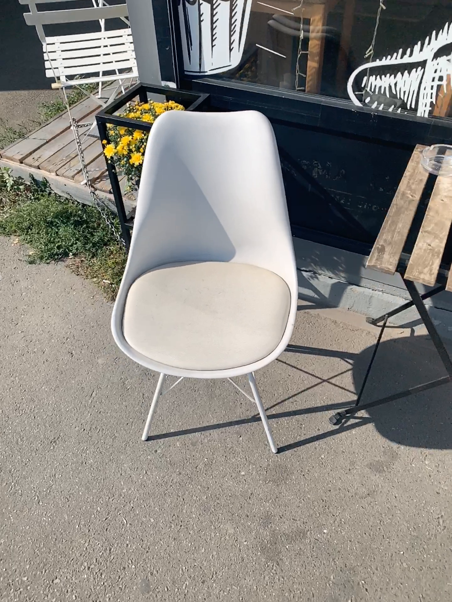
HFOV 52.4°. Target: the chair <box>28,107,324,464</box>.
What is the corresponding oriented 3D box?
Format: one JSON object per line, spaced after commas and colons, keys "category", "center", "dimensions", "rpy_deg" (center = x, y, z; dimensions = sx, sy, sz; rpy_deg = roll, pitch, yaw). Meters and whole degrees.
{"category": "chair", "center": [-0.058, -0.004, 1.204], "dimensions": [0.480, 0.777, 0.532], "rpy_deg": [1, 47, 3]}
